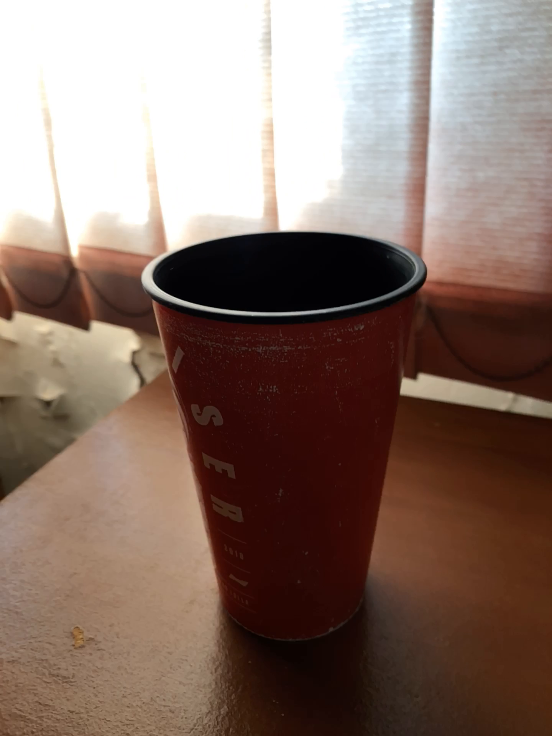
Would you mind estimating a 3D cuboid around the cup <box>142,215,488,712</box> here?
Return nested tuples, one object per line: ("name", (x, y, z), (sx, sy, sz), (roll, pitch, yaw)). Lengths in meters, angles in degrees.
("cup", (0.007, 0.026, 0.234), (0.090, 0.139, 0.101), (-8, 24, -11))
